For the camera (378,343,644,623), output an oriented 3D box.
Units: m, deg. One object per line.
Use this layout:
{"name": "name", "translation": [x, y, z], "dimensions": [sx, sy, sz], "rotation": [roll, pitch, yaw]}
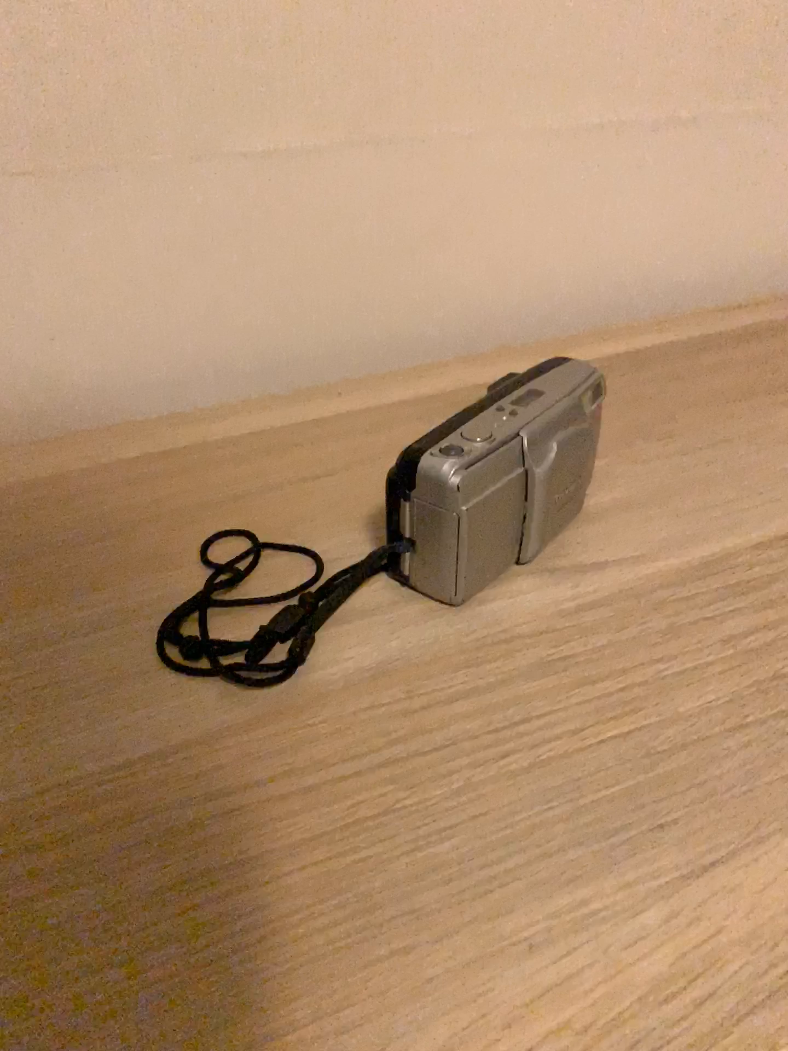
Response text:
{"name": "camera", "translation": [0.051, -0.024, 0.338], "dimensions": [0.046, 0.059, 0.126], "rotation": [23, 39, 32]}
